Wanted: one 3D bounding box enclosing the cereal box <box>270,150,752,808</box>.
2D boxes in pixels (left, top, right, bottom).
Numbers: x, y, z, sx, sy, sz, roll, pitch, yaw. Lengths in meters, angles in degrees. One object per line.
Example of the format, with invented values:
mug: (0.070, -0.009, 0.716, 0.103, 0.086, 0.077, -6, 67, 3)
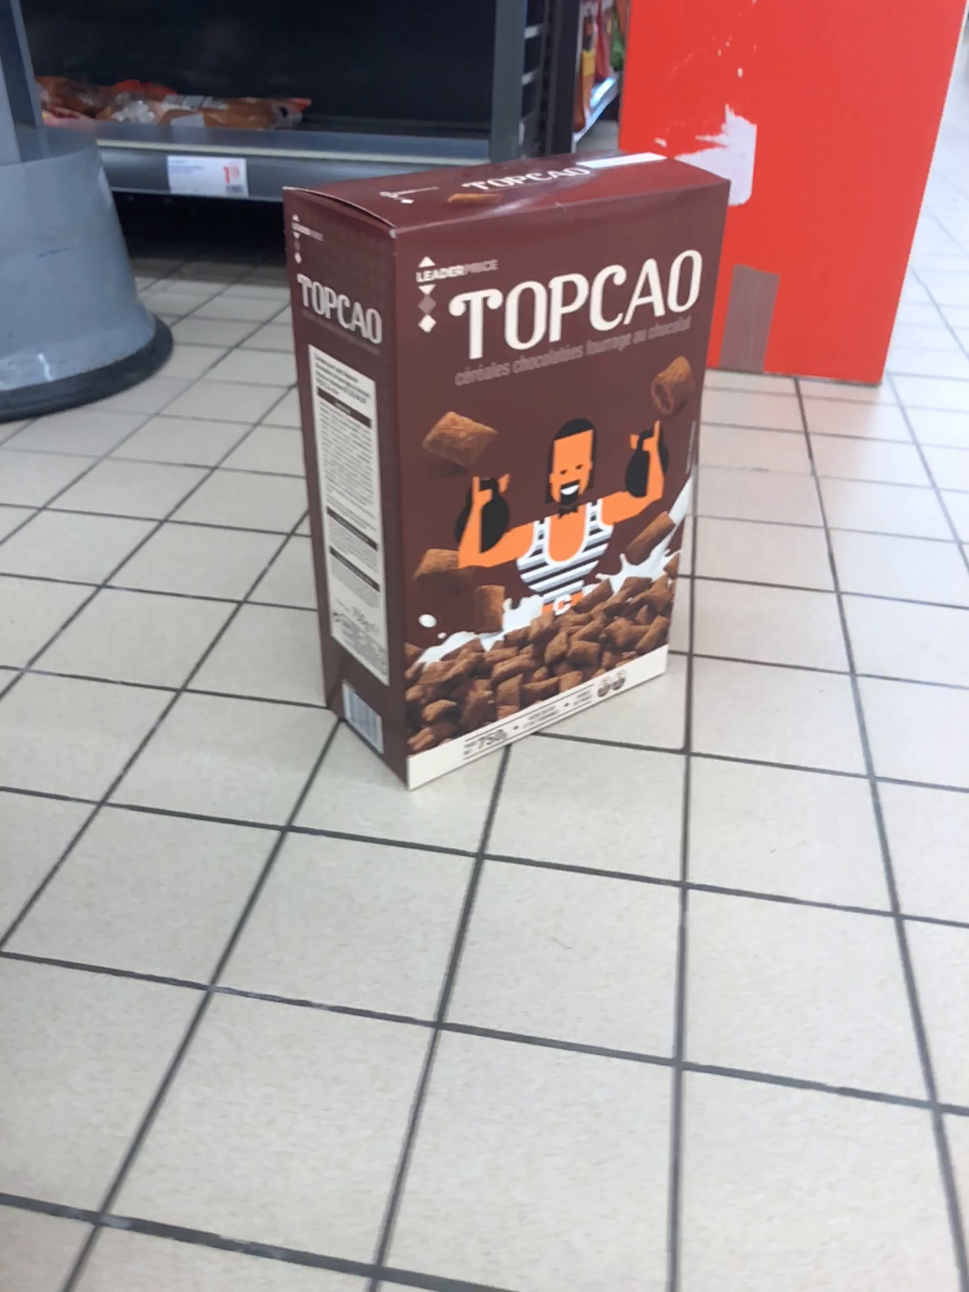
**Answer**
cereal box: (0.016, -0.090, 0.567, 0.201, 0.288, 0.100, -21, 38, -29)
